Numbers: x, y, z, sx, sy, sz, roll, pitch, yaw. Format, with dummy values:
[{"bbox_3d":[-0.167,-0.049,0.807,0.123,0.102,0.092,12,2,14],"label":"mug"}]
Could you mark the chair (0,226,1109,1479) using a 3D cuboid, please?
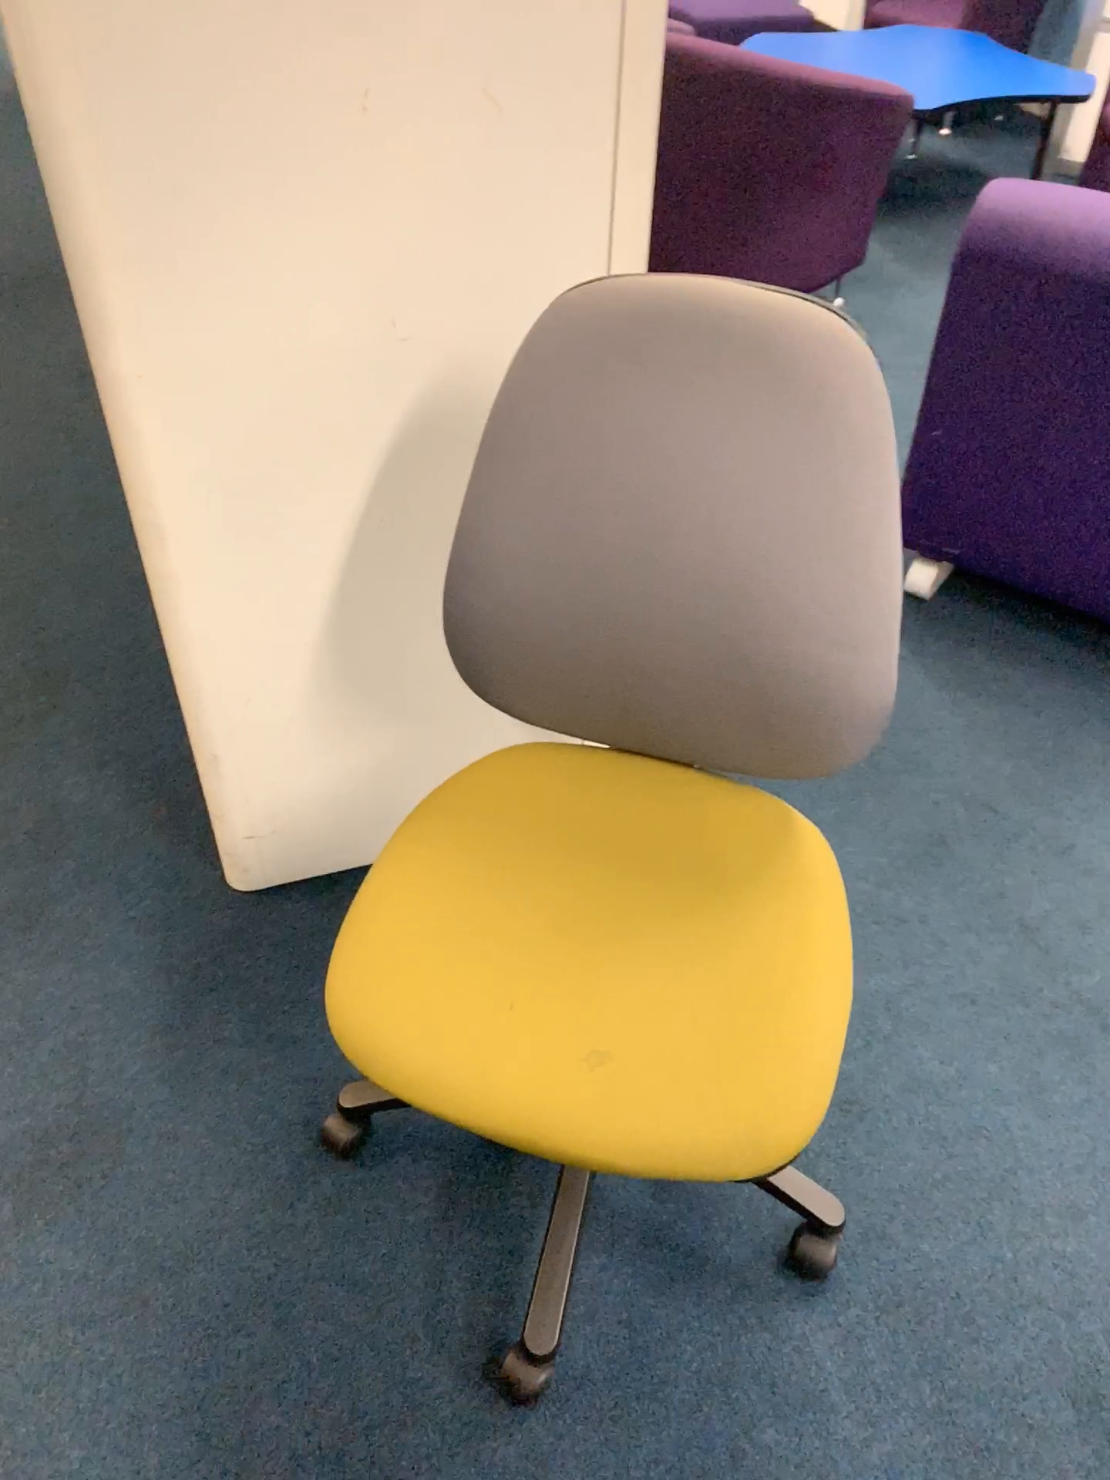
[{"bbox_3d":[0.055,0.138,1.079,0.640,0.921,0.666,12,43,11],"label":"chair"}]
